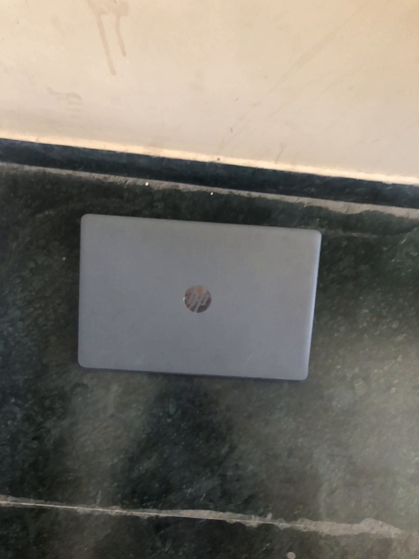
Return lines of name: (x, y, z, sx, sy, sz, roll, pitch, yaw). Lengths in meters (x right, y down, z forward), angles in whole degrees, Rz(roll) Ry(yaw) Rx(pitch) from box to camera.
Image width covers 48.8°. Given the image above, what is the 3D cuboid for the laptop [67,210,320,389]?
laptop: (-0.017, 0.035, 0.724, 0.357, 0.092, 0.243, 4, 80, -1)
